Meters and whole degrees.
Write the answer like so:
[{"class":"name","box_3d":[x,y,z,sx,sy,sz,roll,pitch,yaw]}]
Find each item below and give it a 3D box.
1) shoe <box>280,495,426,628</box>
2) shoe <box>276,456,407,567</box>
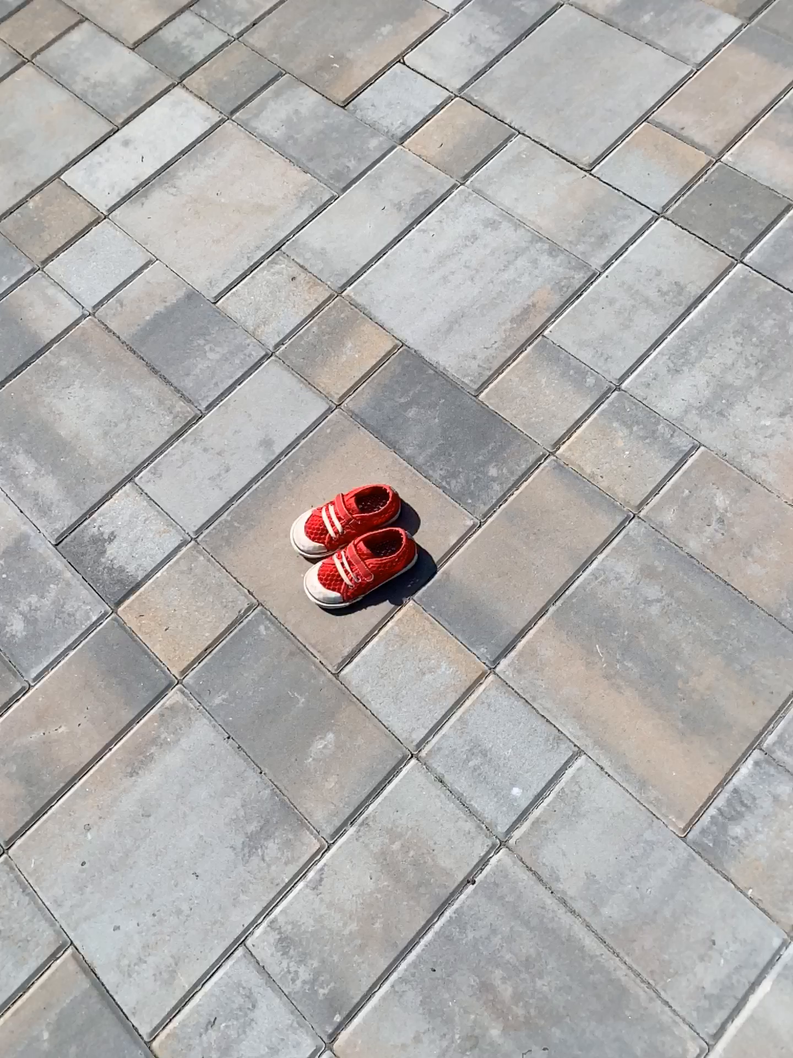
[{"class":"shoe","box_3d":[-0.058,0.047,1.142,0.170,0.100,0.090,-27,67,-6]},{"class":"shoe","box_3d":[-0.076,-0.023,1.159,0.160,0.100,0.070,-22,67,-3]}]
